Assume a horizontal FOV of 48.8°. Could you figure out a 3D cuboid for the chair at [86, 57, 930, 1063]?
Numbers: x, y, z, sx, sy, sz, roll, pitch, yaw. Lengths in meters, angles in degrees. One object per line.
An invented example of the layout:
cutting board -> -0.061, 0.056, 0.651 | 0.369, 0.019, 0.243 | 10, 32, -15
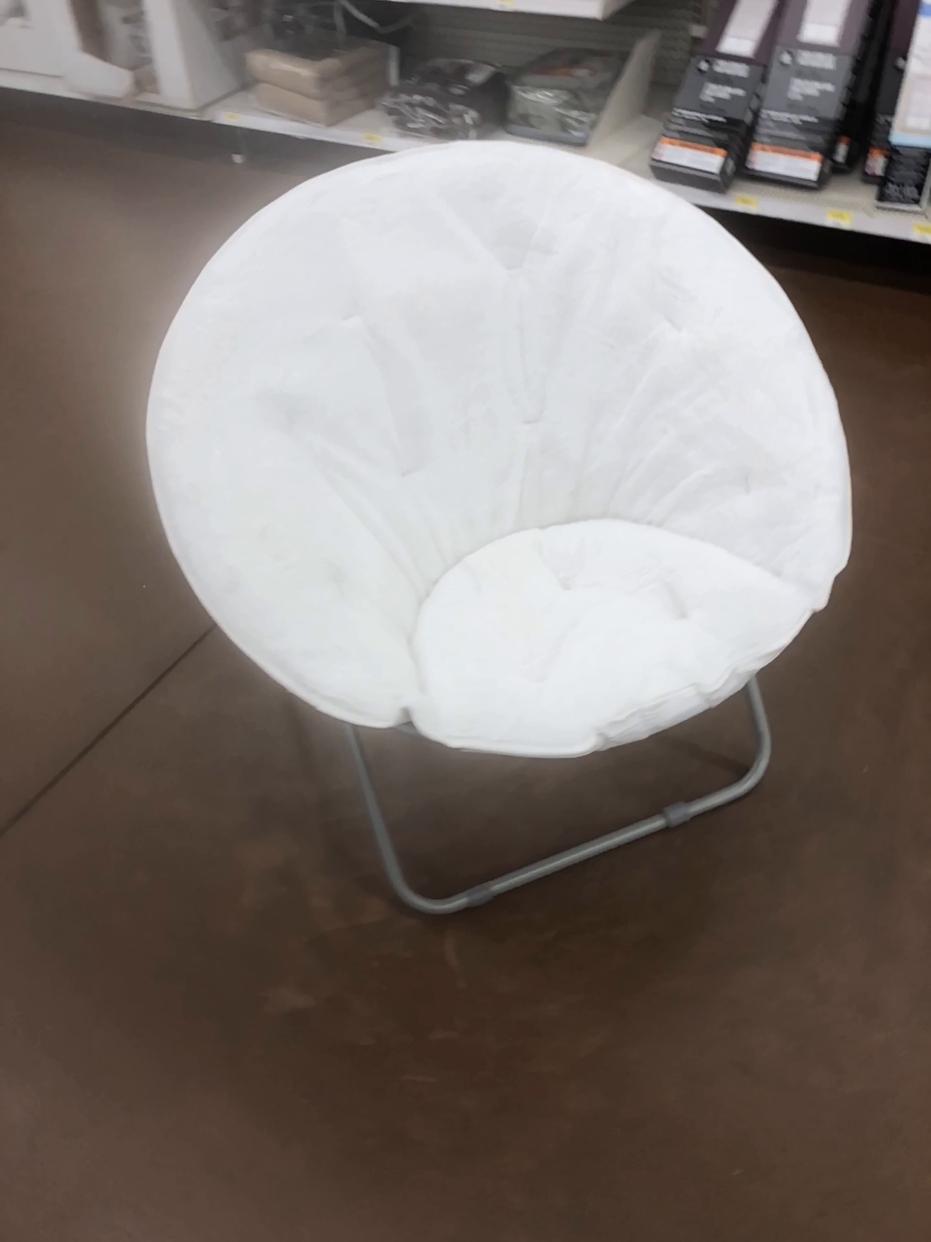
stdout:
chair -> 0.096, -0.126, 1.181 | 0.760, 0.648, 0.753 | -18, 45, -12
